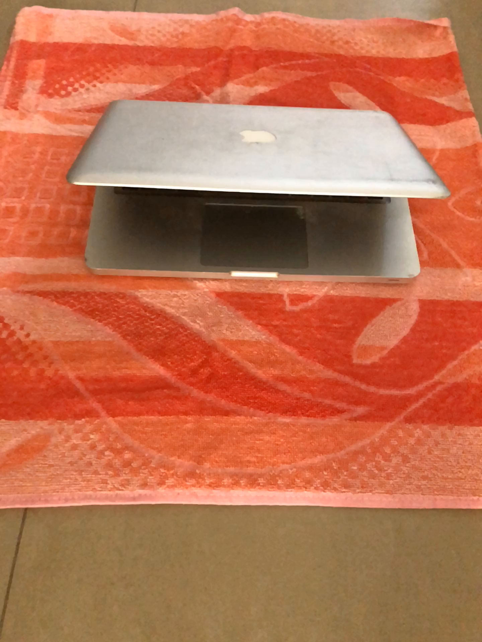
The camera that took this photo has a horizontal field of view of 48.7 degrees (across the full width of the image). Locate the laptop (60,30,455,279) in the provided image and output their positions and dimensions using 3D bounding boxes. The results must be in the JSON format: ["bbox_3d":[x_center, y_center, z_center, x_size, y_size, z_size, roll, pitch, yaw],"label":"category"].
[{"bbox_3d":[0.015,-0.162,0.510,0.310,0.086,0.224,2,60,-3],"label":"laptop"}]
